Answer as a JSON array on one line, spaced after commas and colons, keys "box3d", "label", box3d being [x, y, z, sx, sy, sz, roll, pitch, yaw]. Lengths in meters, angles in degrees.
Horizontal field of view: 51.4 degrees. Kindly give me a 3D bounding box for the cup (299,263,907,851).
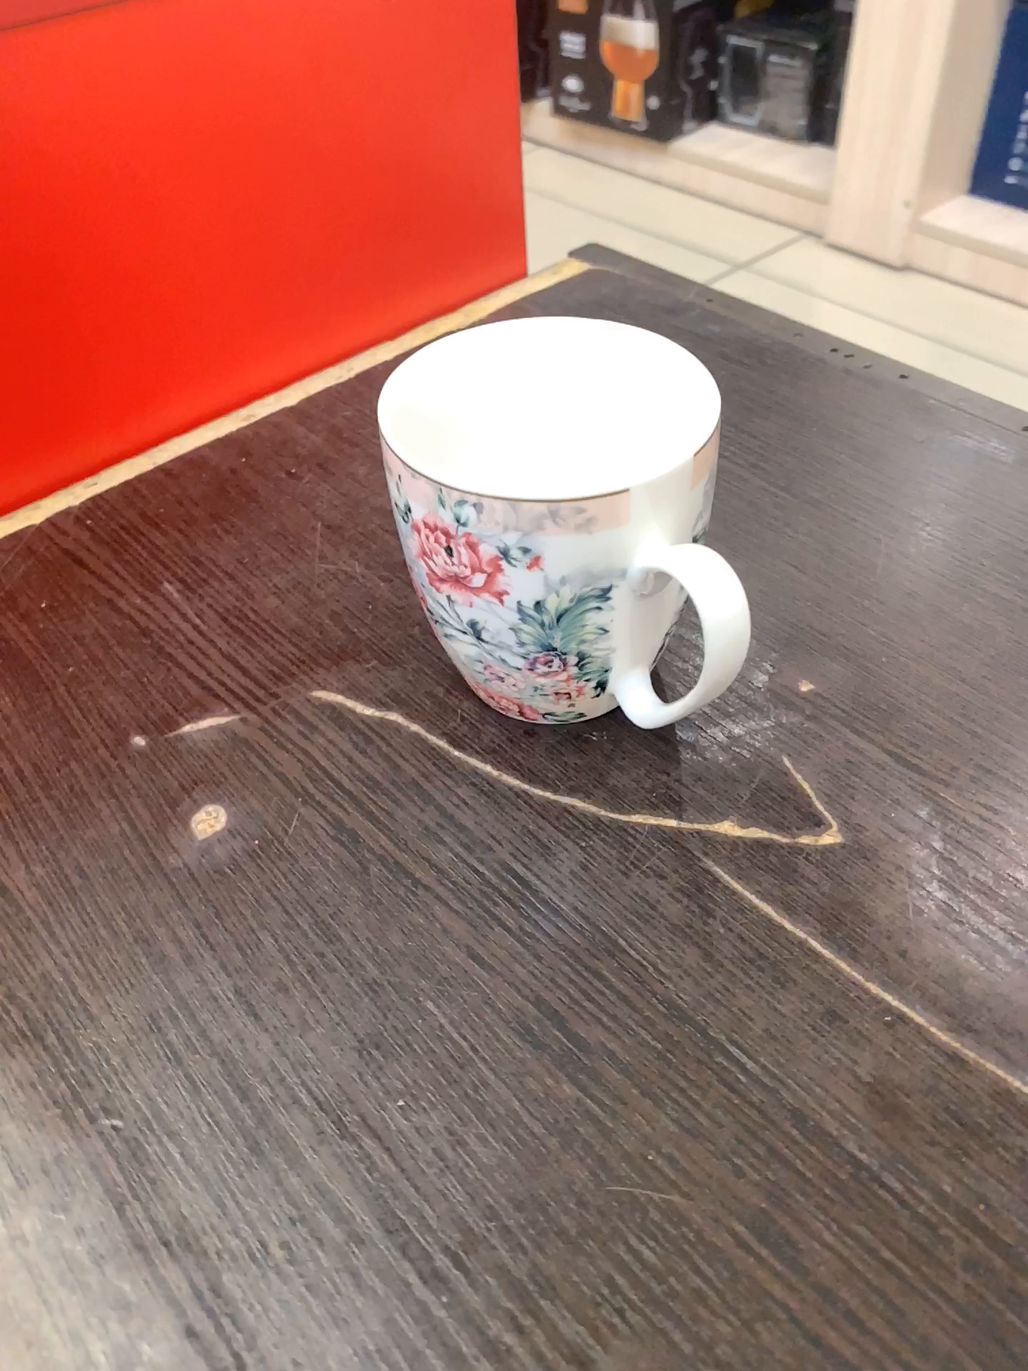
[{"box3d": [0.016, -0.037, 0.253, 0.080, 0.070, 0.110, -27, 48, -21], "label": "cup"}]
